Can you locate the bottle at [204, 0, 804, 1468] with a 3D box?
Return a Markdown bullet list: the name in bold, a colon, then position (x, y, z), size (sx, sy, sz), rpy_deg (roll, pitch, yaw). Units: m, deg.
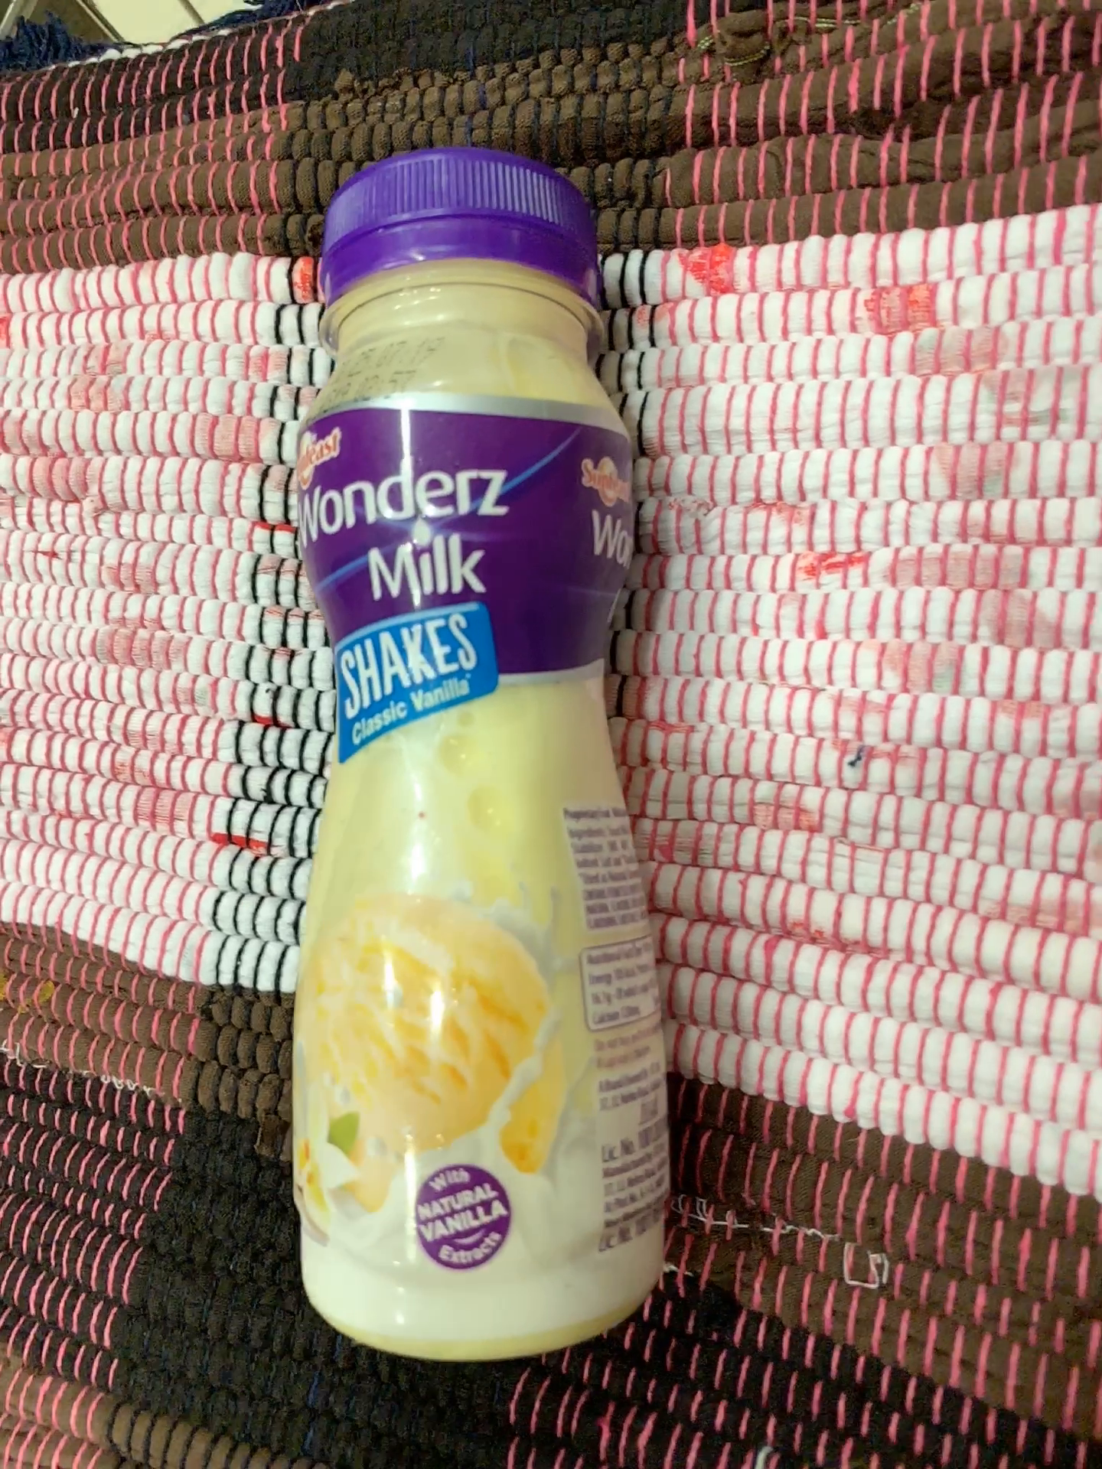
- **bottle**: position (-0.006, 0.000, 0.155), size (0.060, 0.050, 0.160), rpy_deg (-4, 86, 28)
